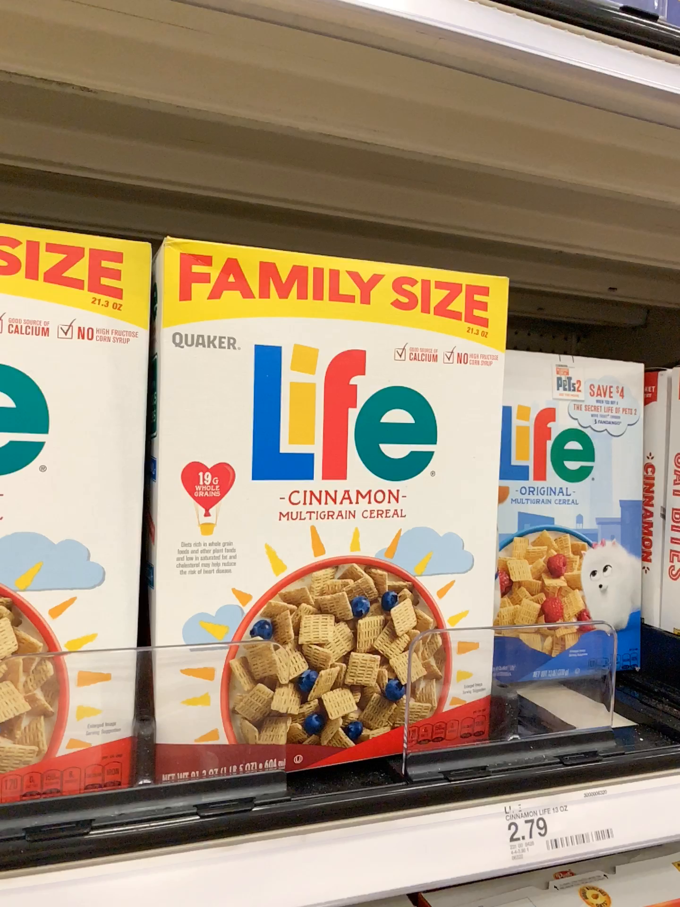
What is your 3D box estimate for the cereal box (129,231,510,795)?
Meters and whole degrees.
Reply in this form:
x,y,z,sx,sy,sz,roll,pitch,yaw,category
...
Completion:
x,y,z,sx,sy,sz,roll,pitch,yaw,category
-0.014,0.028,0.385,0.190,0.260,0.070,1,2,-18,cereal box
